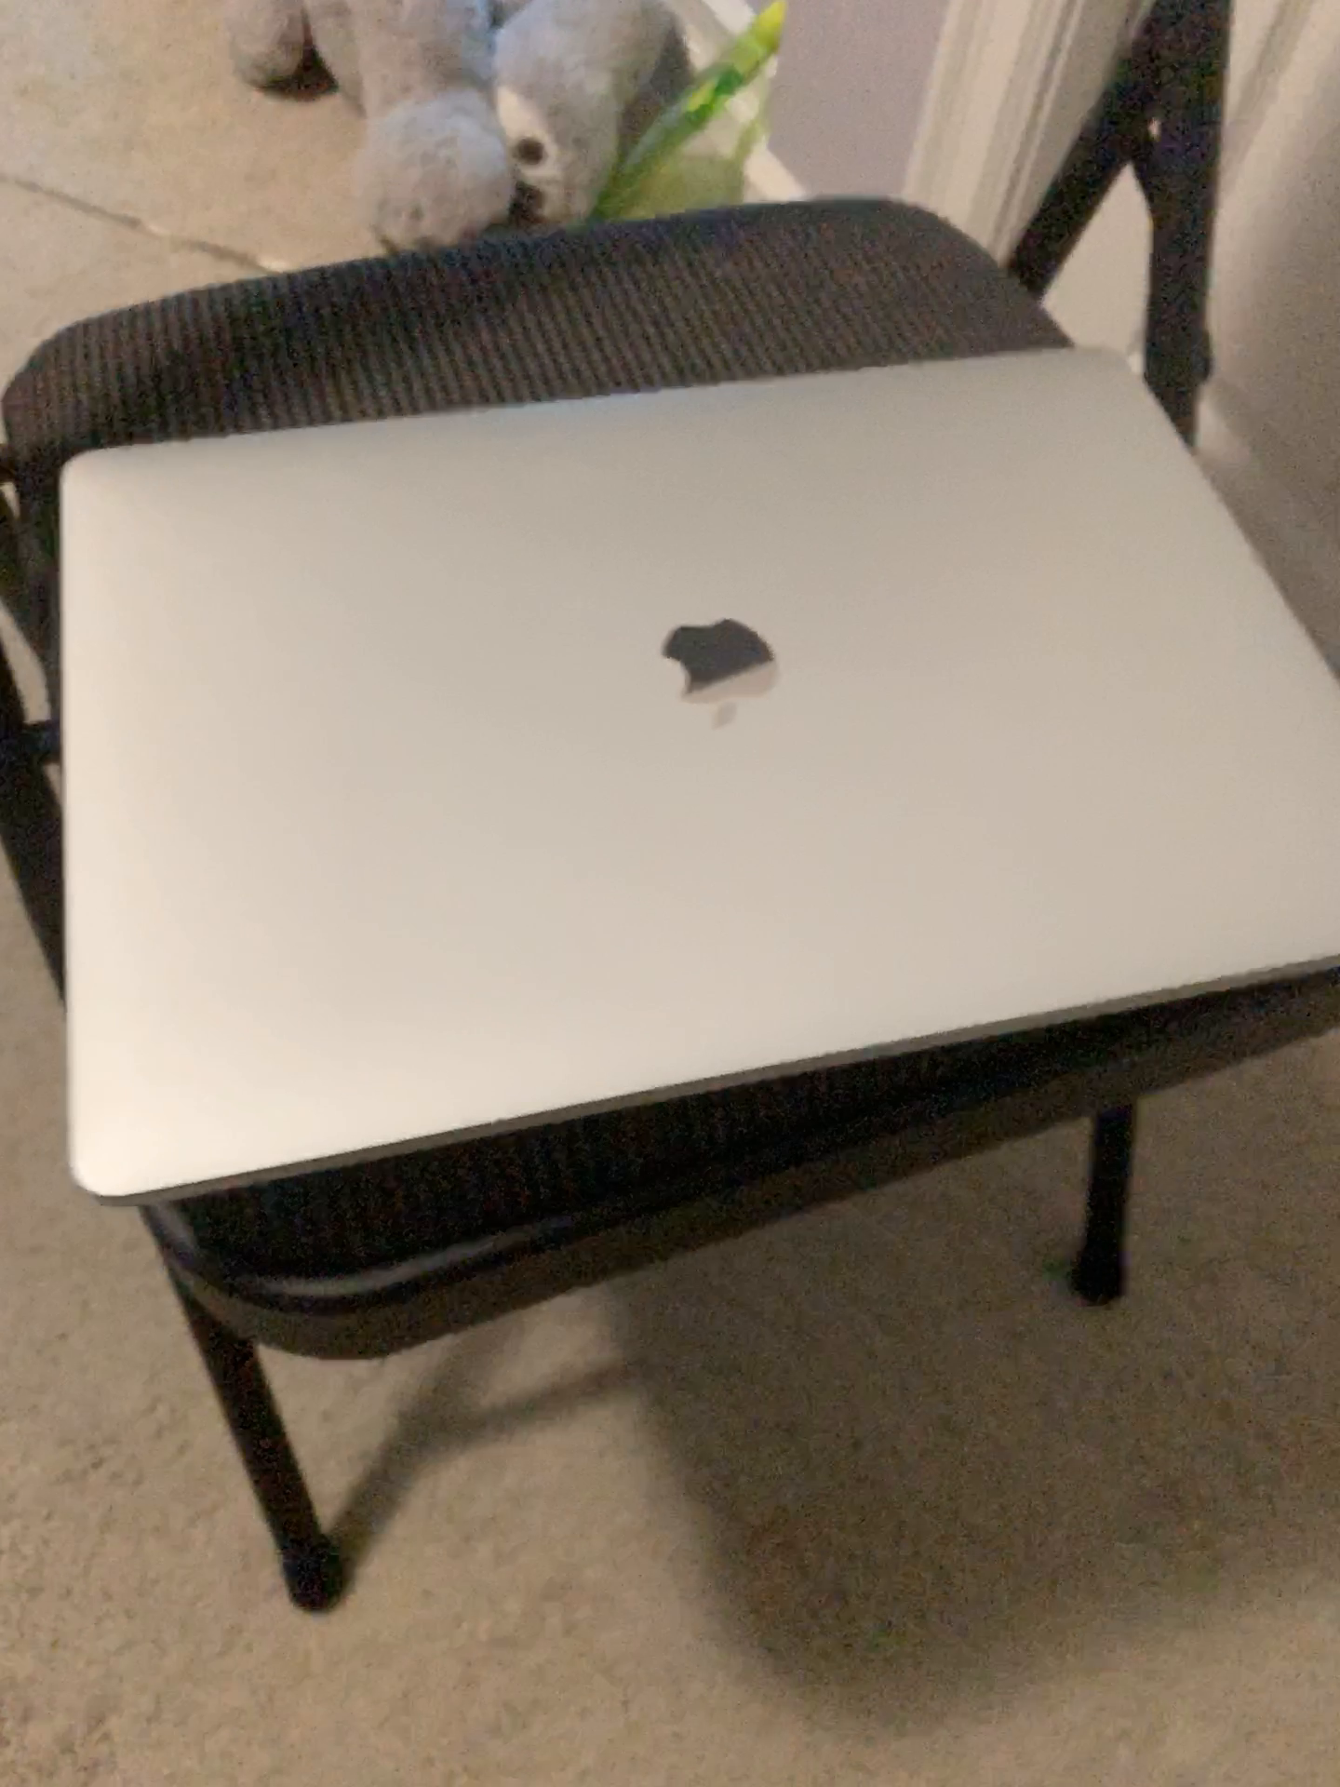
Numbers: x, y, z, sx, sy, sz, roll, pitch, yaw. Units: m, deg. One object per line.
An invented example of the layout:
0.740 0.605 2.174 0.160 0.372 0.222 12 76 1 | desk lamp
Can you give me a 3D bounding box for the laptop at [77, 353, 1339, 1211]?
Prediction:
0.018 -0.056 0.377 0.332 0.001 0.224 -10 61 -10 | laptop
